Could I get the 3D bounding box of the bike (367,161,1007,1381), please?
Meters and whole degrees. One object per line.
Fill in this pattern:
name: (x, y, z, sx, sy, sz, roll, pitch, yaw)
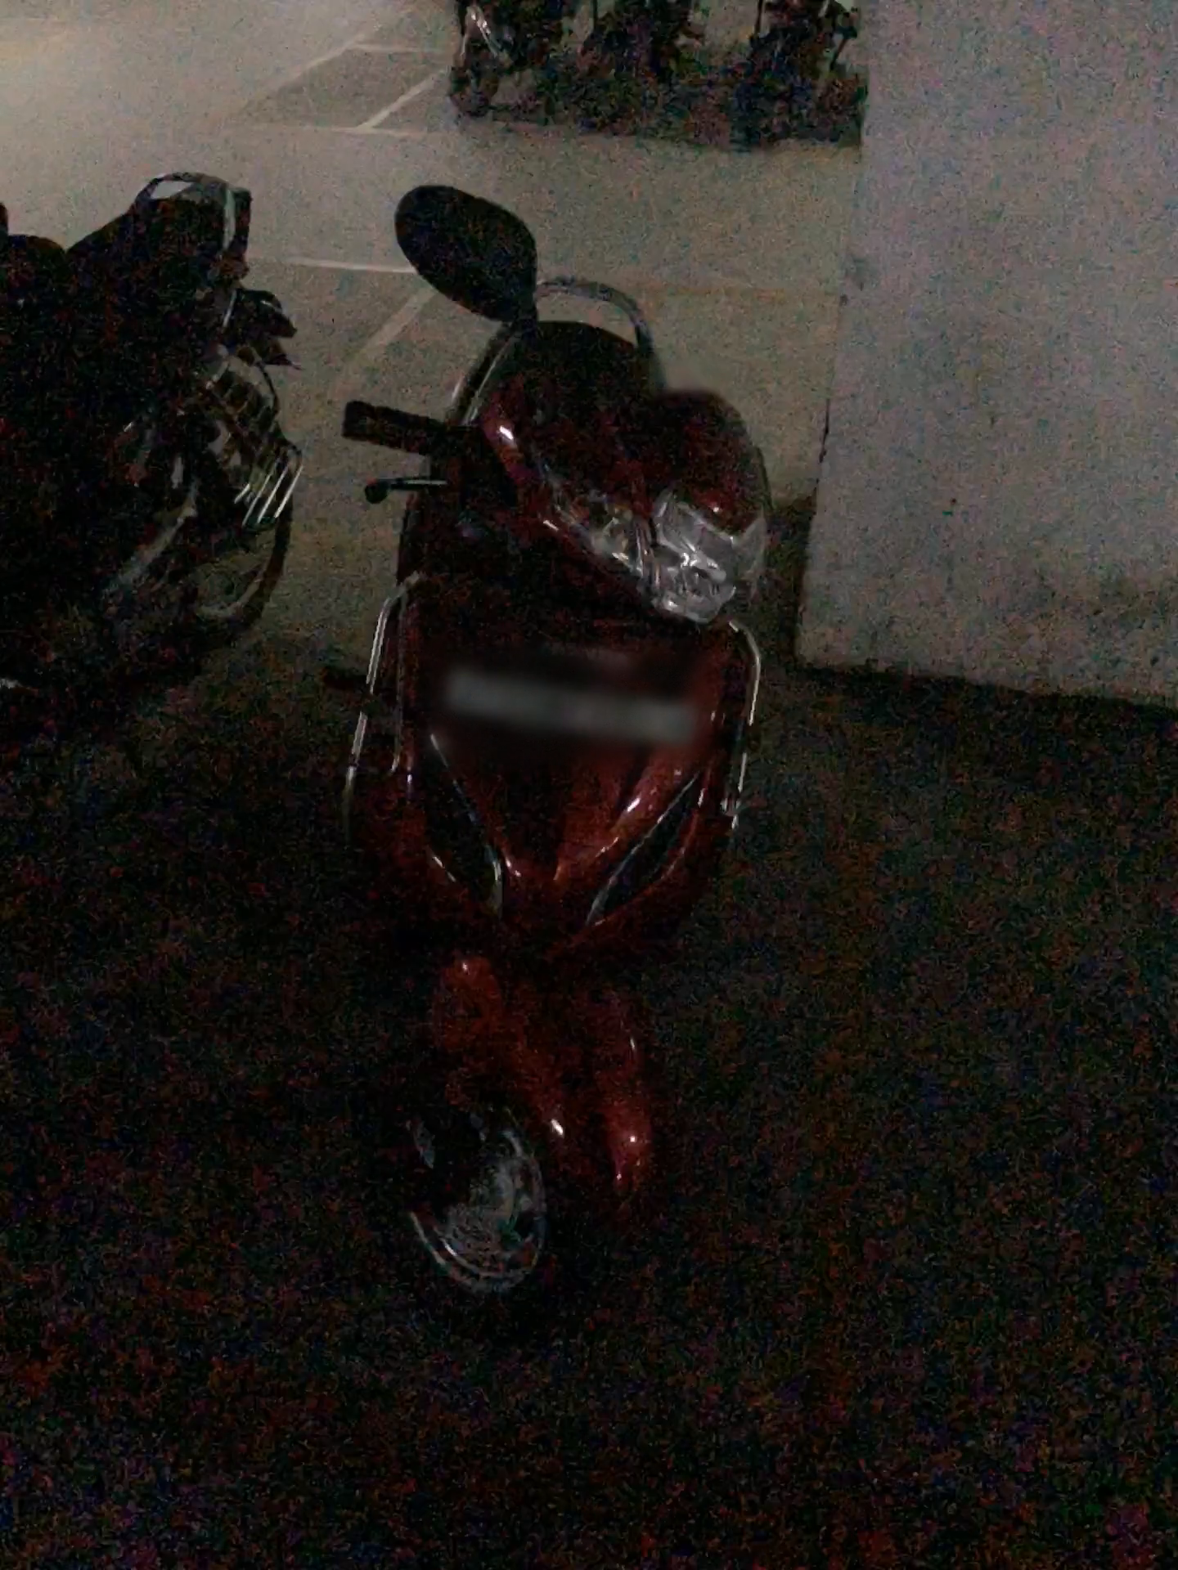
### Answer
bike: (0.018, -0.085, 1.798, 0.486, 0.909, 1.396, -7, 50, -7)
